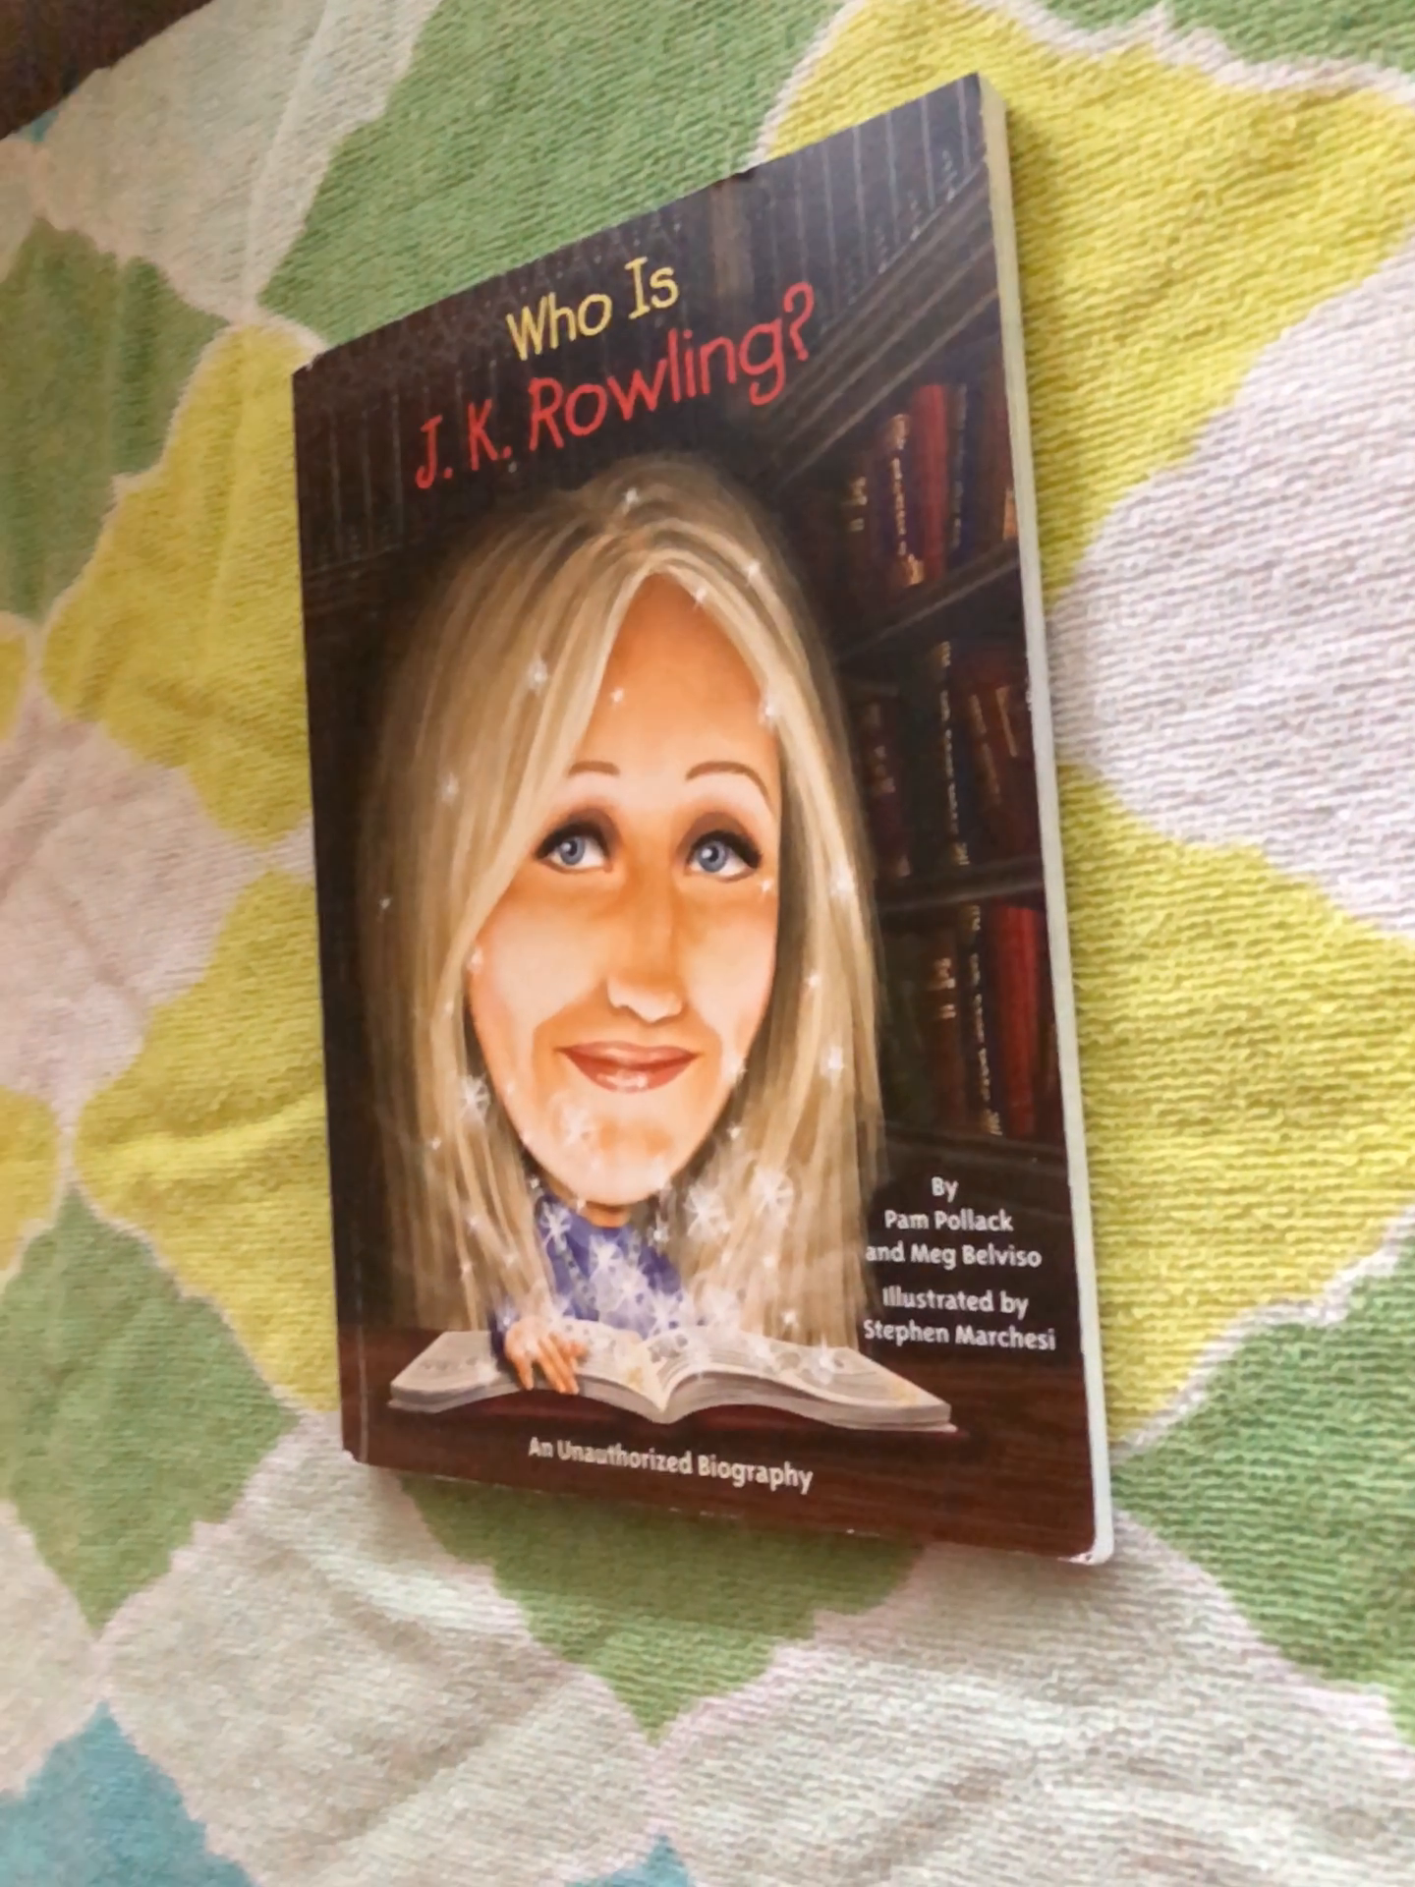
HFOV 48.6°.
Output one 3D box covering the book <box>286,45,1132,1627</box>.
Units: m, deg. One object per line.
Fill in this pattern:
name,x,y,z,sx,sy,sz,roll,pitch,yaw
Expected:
book,-0.010,-0.010,0.224,0.126,0.012,0.187,-6,86,35
